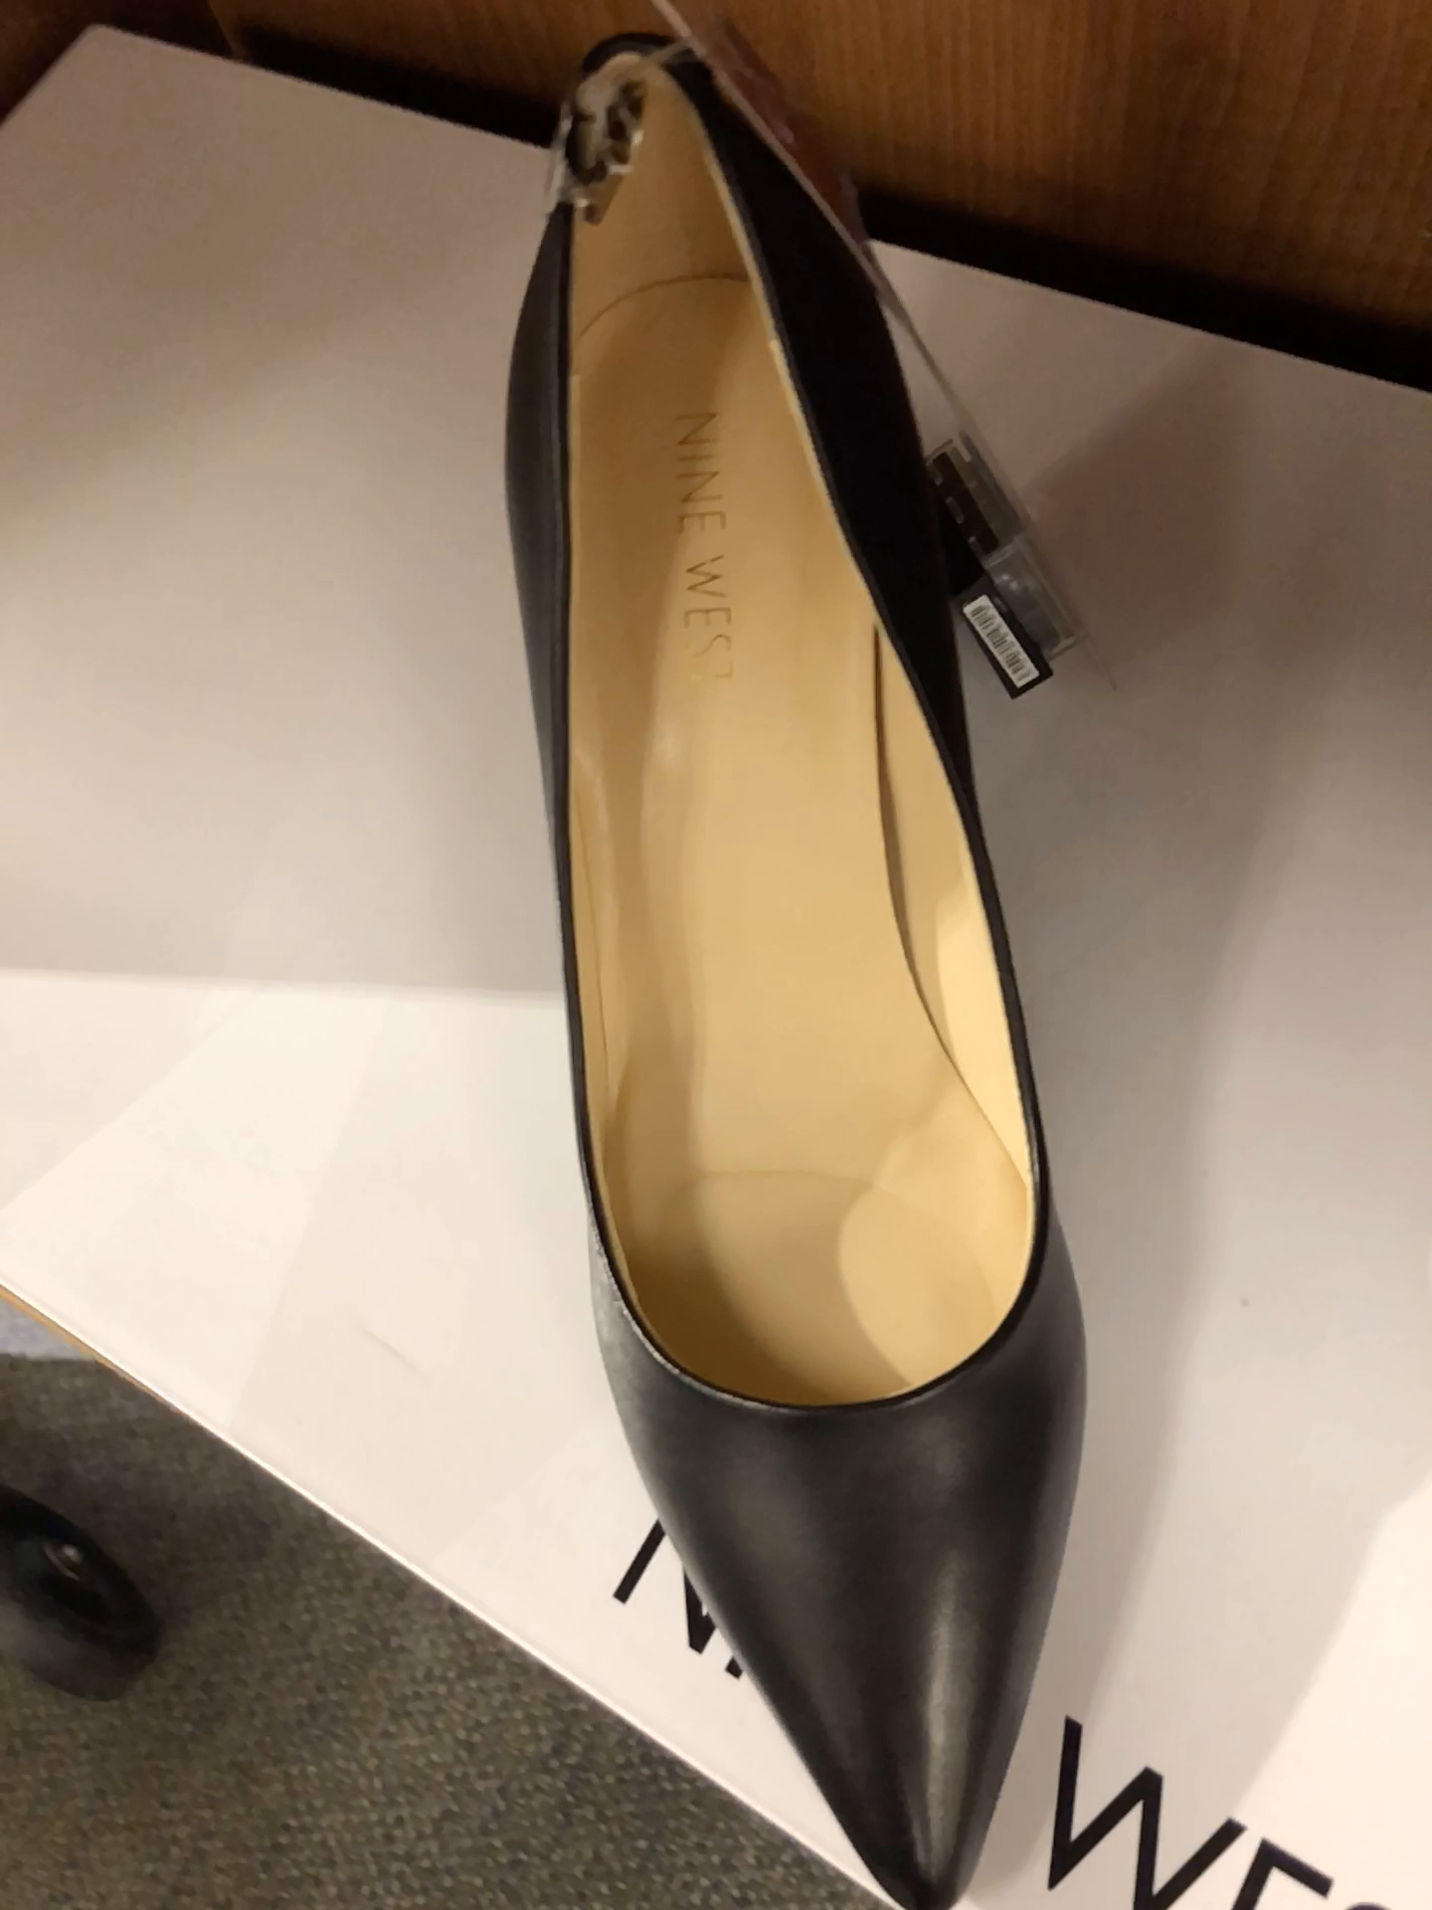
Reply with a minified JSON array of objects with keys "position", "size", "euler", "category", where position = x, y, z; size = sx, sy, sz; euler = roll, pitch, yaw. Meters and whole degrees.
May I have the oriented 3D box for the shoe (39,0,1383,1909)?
[{"position":[0.004,0.005,0.236],"size":[0.096,0.160,0.255],"euler":[-8,65,9],"category":"shoe"}]
